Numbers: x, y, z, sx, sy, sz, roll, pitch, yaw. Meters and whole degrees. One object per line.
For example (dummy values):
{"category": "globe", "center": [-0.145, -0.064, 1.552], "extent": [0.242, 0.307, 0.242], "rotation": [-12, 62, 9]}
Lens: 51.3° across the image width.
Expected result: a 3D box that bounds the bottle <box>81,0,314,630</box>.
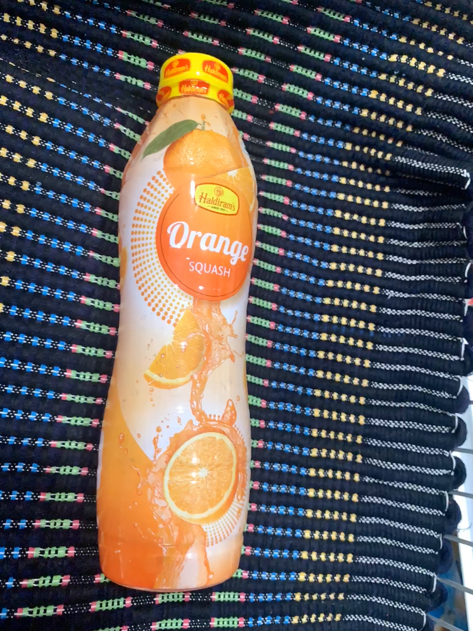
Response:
{"category": "bottle", "center": [-0.014, -0.008, 0.233], "extent": [0.080, 0.060, 0.250], "rotation": [8, 77, -27]}
